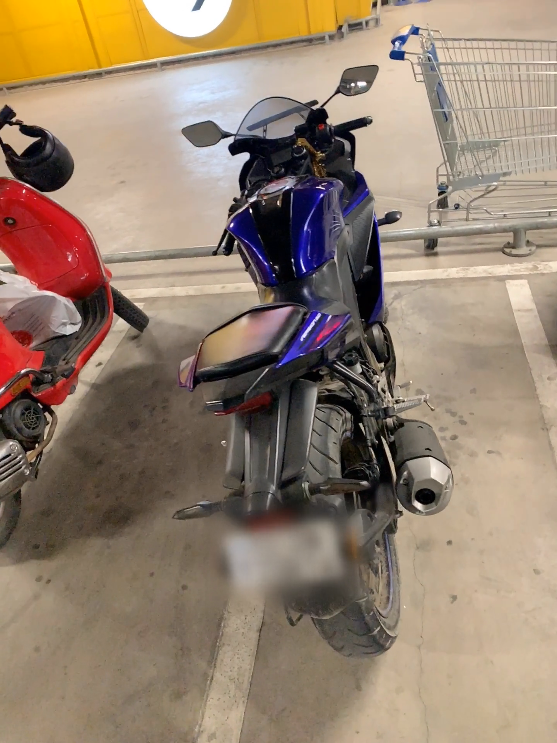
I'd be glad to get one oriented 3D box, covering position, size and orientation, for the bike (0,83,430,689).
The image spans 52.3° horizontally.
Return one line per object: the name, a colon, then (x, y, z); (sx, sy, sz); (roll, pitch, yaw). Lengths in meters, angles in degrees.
bike: (-0.151, -0.118, 1.766); (0.687, 0.933, 1.657); (-10, 40, 2)
